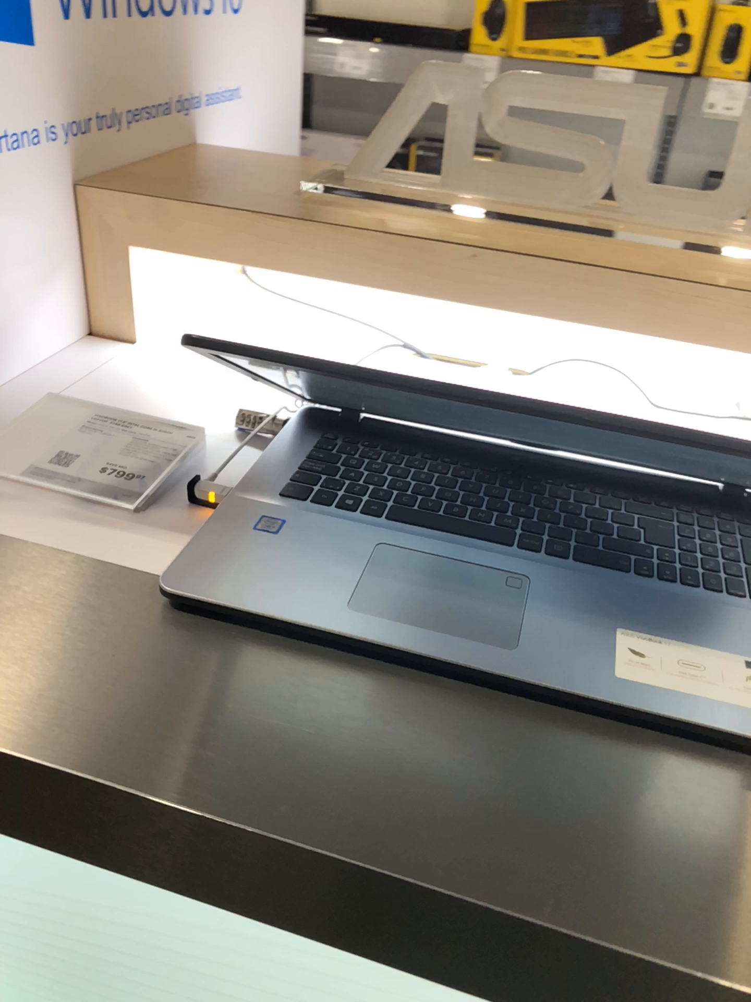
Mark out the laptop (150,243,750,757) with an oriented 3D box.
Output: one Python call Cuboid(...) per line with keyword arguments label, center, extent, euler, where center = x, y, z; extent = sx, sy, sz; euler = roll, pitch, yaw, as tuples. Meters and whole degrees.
Cuboid(label="laptop", center=(0.099, -0.033, 0.538), extent=(0.391, 0.144, 0.260), euler=(12, 34, 11))
